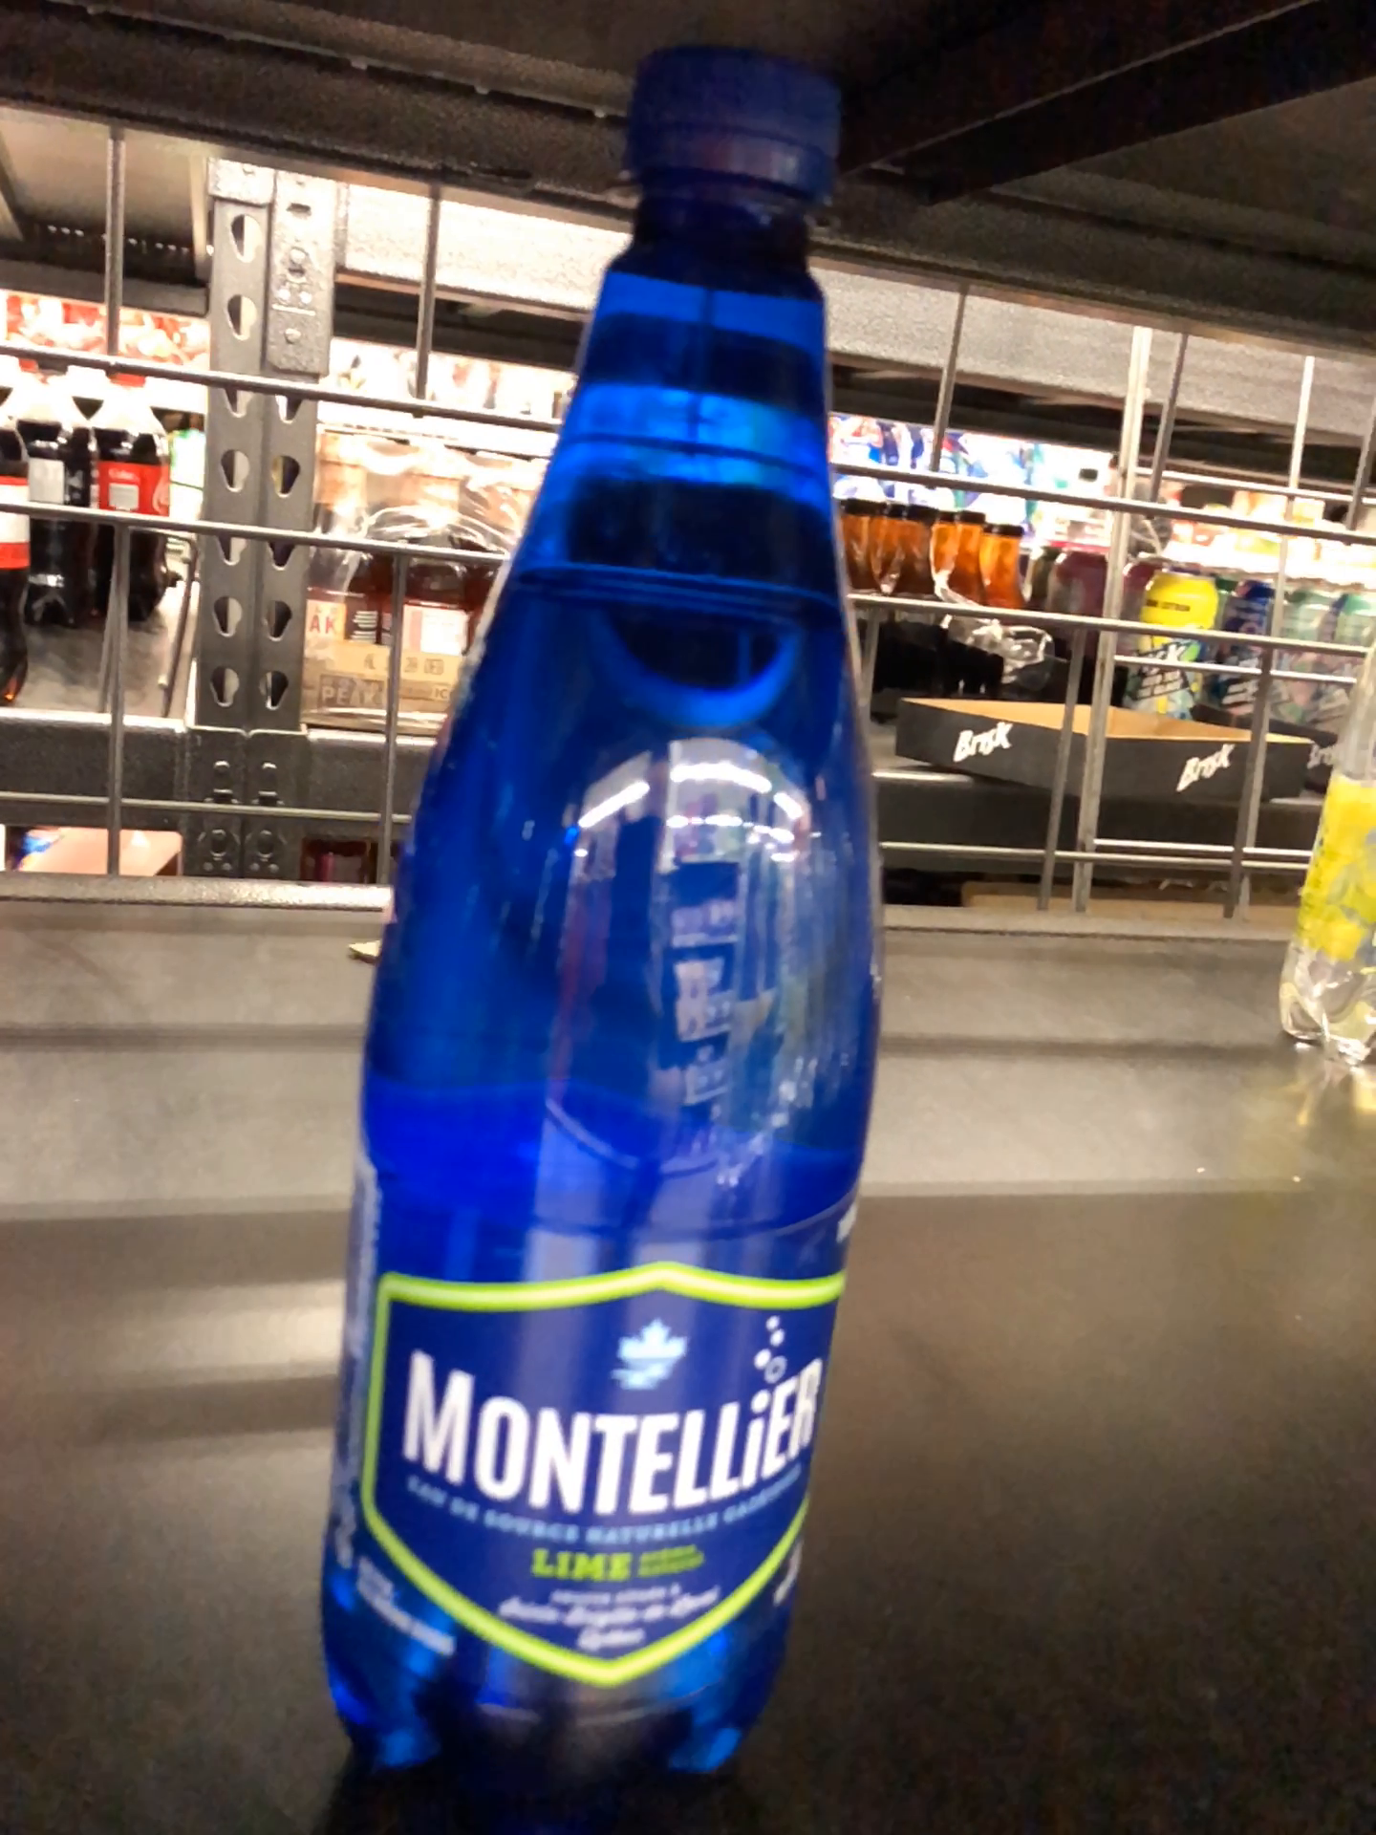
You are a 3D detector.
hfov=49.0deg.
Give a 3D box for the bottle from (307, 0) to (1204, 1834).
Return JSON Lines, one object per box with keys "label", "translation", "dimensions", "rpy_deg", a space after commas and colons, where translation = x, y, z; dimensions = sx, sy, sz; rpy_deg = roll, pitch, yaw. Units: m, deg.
{"label": "bottle", "translation": [-0.008, 0.009, 0.268], "dimensions": [0.100, 0.289, 0.090], "rpy_deg": [3, 16, -16]}
